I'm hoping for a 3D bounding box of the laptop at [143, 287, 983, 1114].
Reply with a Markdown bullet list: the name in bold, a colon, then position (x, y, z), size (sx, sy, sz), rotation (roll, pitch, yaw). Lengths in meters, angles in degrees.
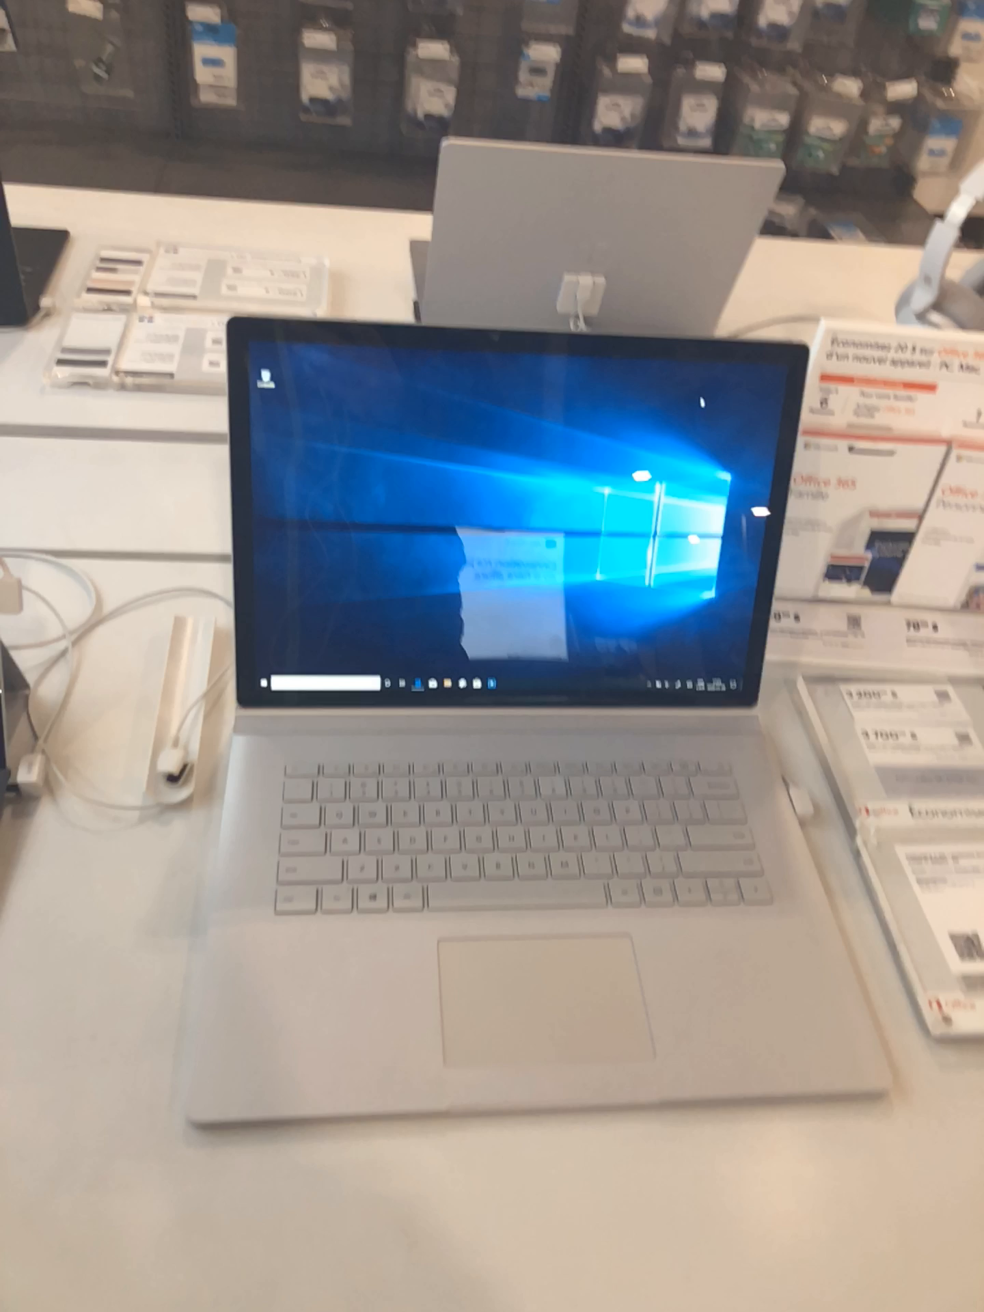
- **laptop**: position (0.023, 0.005, 0.574), size (0.338, 0.207, 0.366), rotation (1, 45, -8)
